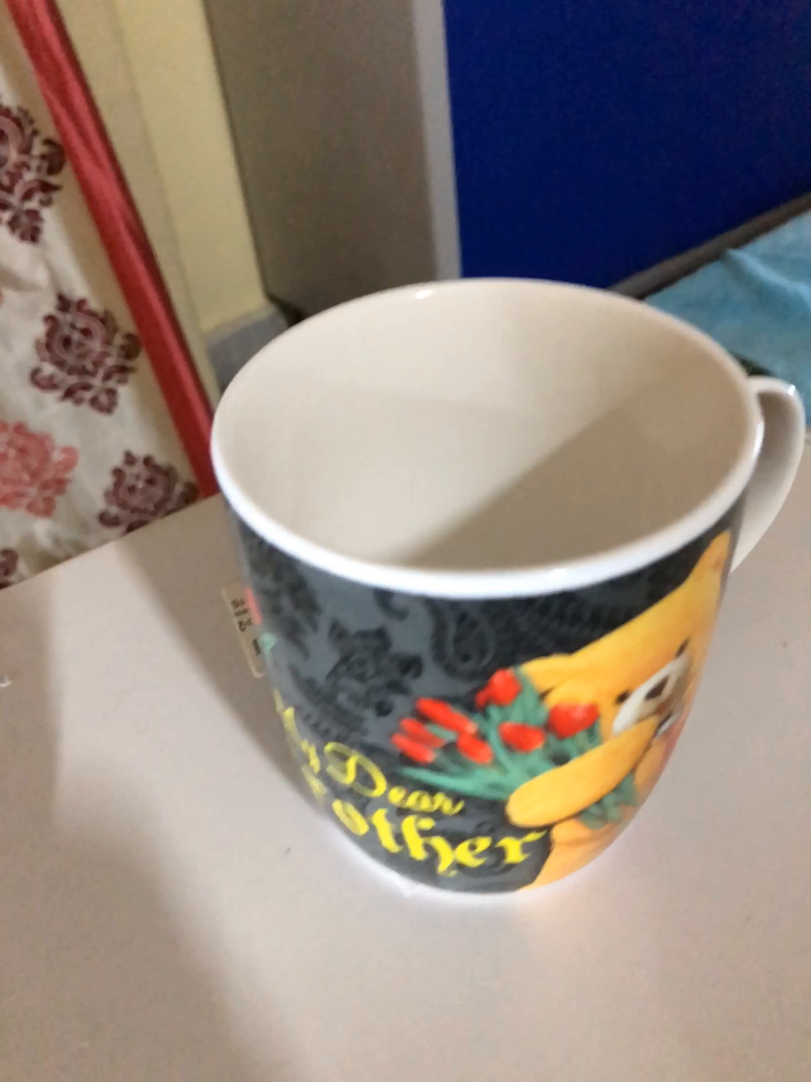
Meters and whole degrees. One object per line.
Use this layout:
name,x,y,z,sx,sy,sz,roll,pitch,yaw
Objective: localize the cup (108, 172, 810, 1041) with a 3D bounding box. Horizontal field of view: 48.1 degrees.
cup,0.031,0.003,0.179,0.130,0.099,0.080,-25,42,-21
